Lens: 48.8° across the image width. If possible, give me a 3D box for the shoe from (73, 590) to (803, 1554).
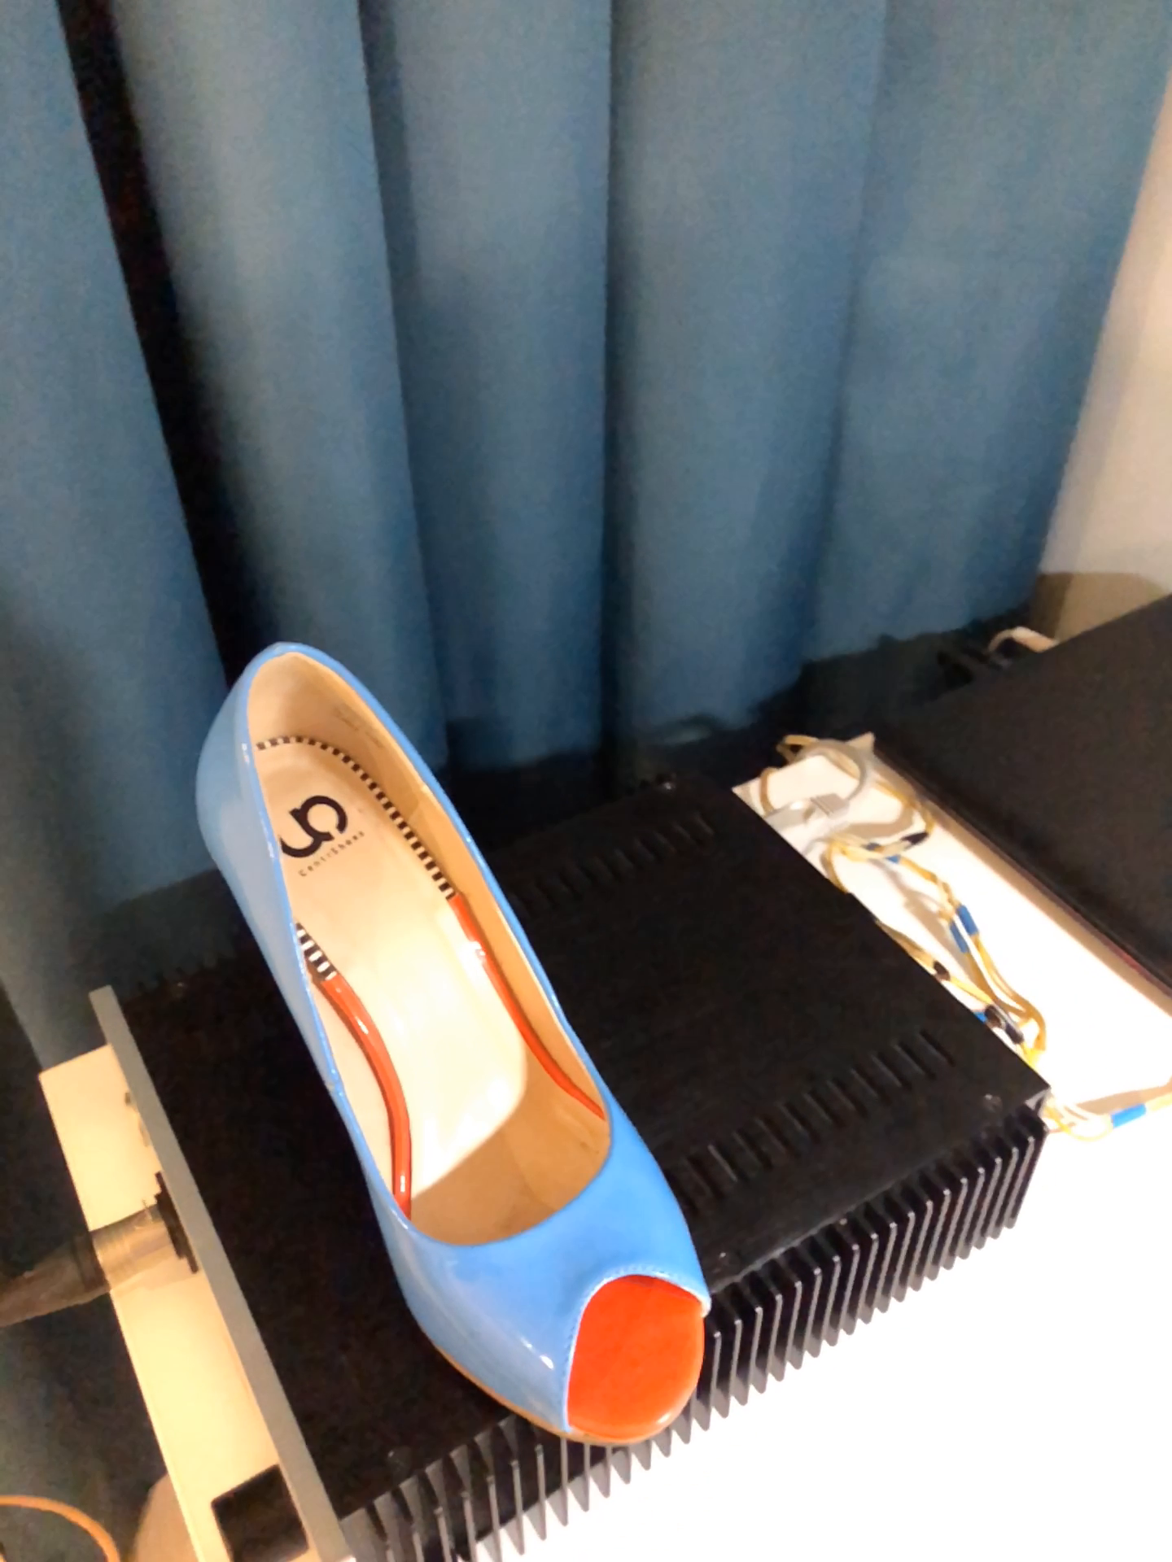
[{"bbox_3d":[-0.050,0.068,0.370,0.080,0.149,0.221,-25,45,-27],"label":"shoe"}]
